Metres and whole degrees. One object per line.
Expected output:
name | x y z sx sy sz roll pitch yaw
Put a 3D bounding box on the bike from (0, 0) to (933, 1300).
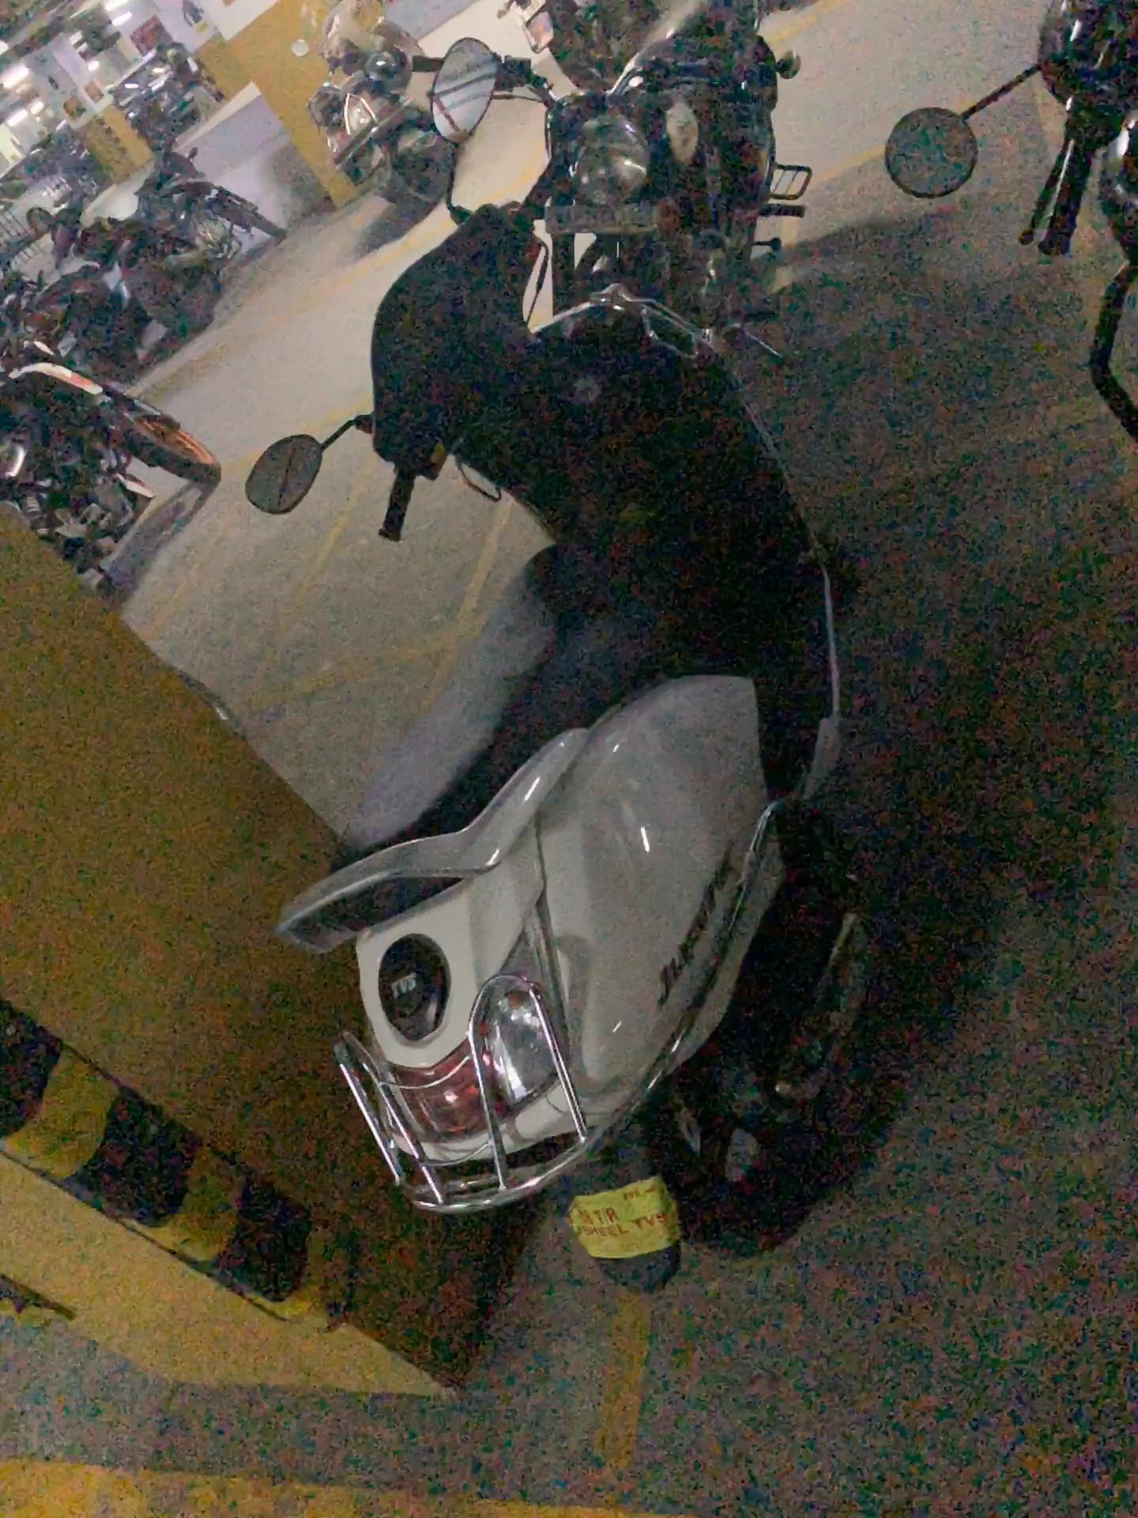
bike | -0.013 -0.200 1.820 0.650 1.158 1.535 -17 43 27
